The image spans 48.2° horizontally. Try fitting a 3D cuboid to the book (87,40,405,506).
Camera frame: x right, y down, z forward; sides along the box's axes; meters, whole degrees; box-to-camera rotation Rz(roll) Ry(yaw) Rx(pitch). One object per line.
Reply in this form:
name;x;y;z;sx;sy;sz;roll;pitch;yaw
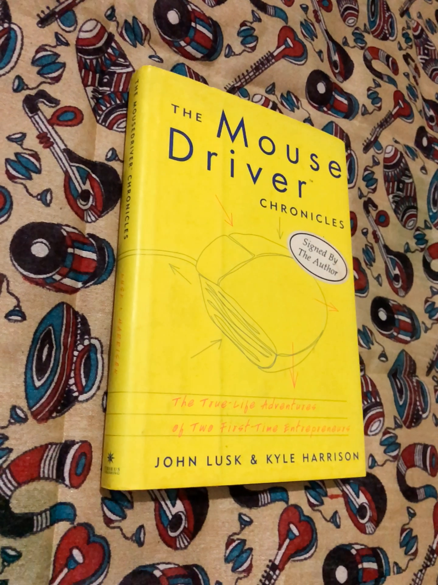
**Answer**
book;0.019;-0.008;0.273;0.161;0.040;0.220;10;68;-30
